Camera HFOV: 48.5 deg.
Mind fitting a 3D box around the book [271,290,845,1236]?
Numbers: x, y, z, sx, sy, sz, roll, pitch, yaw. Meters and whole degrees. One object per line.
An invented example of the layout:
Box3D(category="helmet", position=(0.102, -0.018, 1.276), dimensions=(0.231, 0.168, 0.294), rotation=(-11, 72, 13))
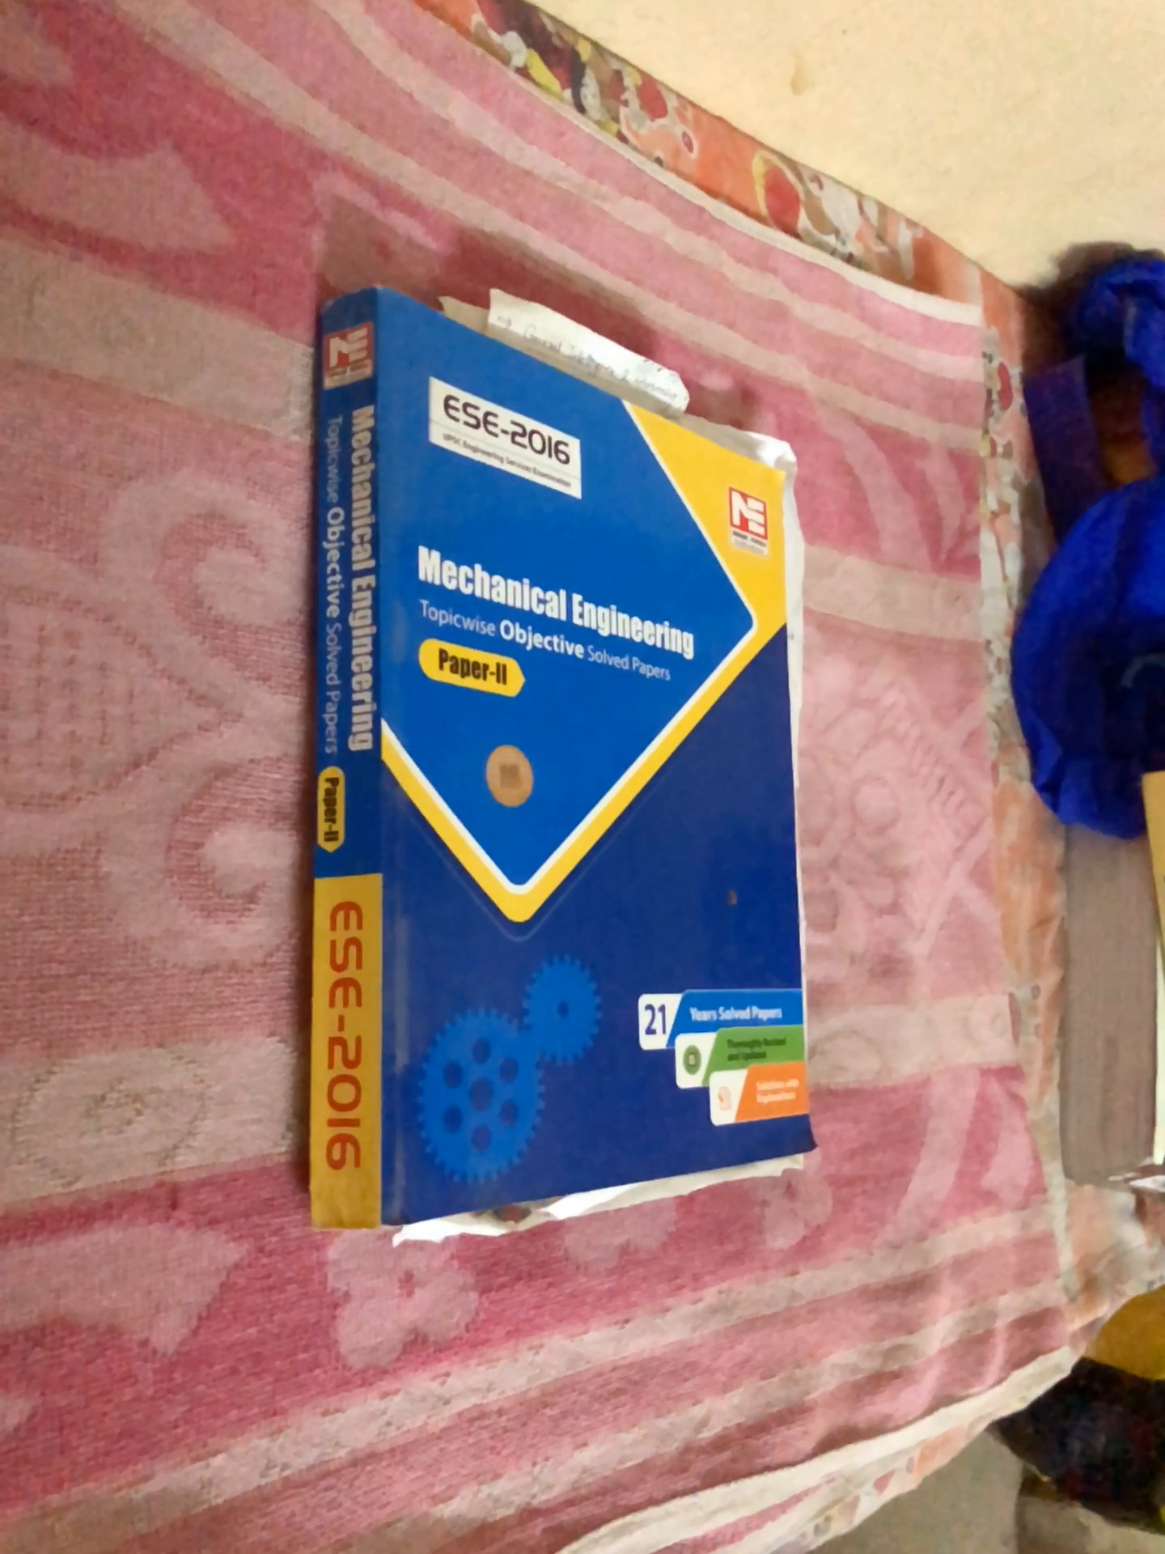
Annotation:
Box3D(category="book", position=(0.001, 0.003, 0.458), dimensions=(0.216, 0.055, 0.270), rotation=(8, 77, -44))
